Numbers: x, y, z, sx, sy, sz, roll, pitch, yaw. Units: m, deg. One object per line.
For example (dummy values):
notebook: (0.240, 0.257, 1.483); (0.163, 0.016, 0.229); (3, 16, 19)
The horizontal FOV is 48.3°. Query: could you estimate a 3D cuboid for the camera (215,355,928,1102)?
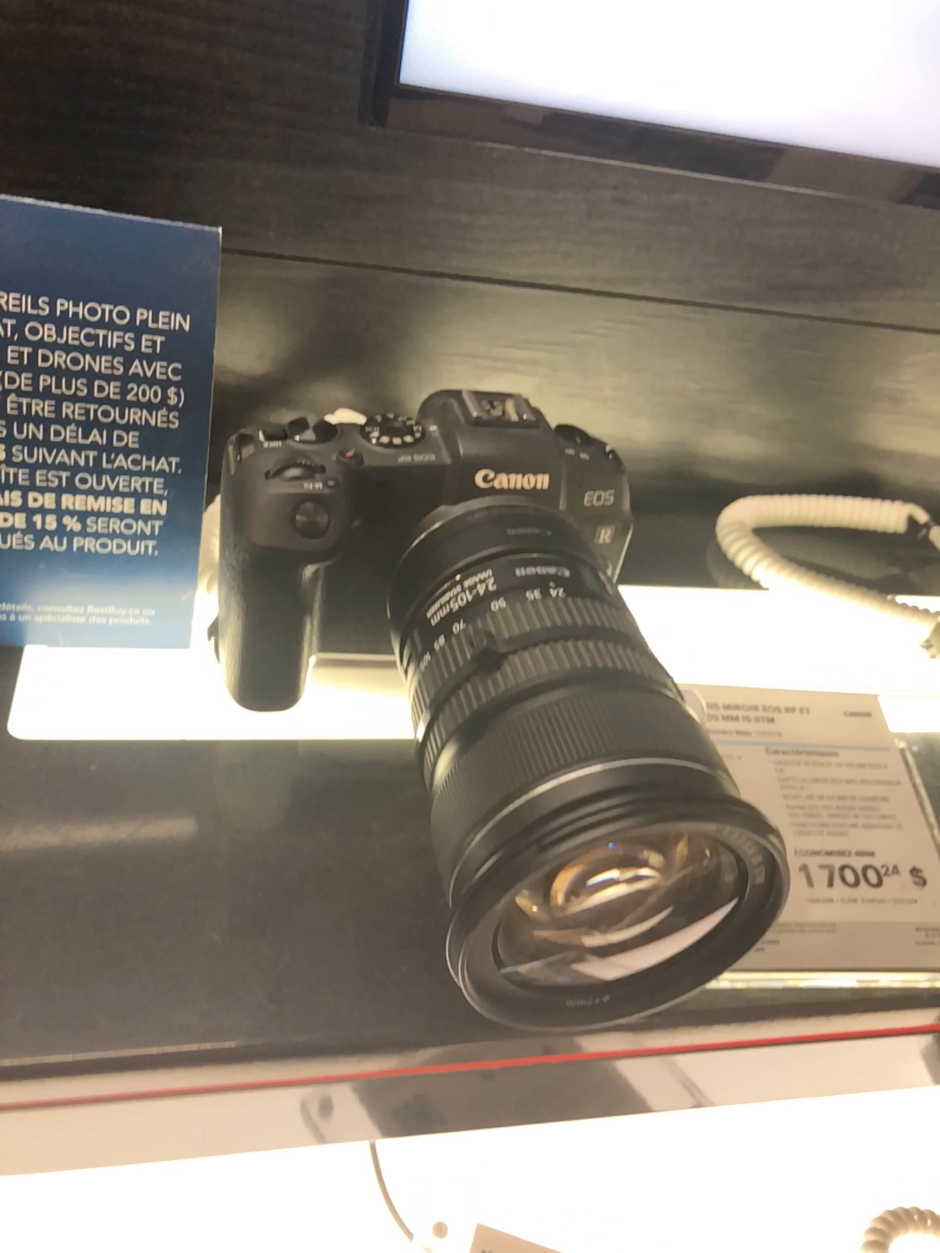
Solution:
camera: (0.001, 0.011, 0.289); (0.128, 0.099, 0.178); (0, 36, -17)
